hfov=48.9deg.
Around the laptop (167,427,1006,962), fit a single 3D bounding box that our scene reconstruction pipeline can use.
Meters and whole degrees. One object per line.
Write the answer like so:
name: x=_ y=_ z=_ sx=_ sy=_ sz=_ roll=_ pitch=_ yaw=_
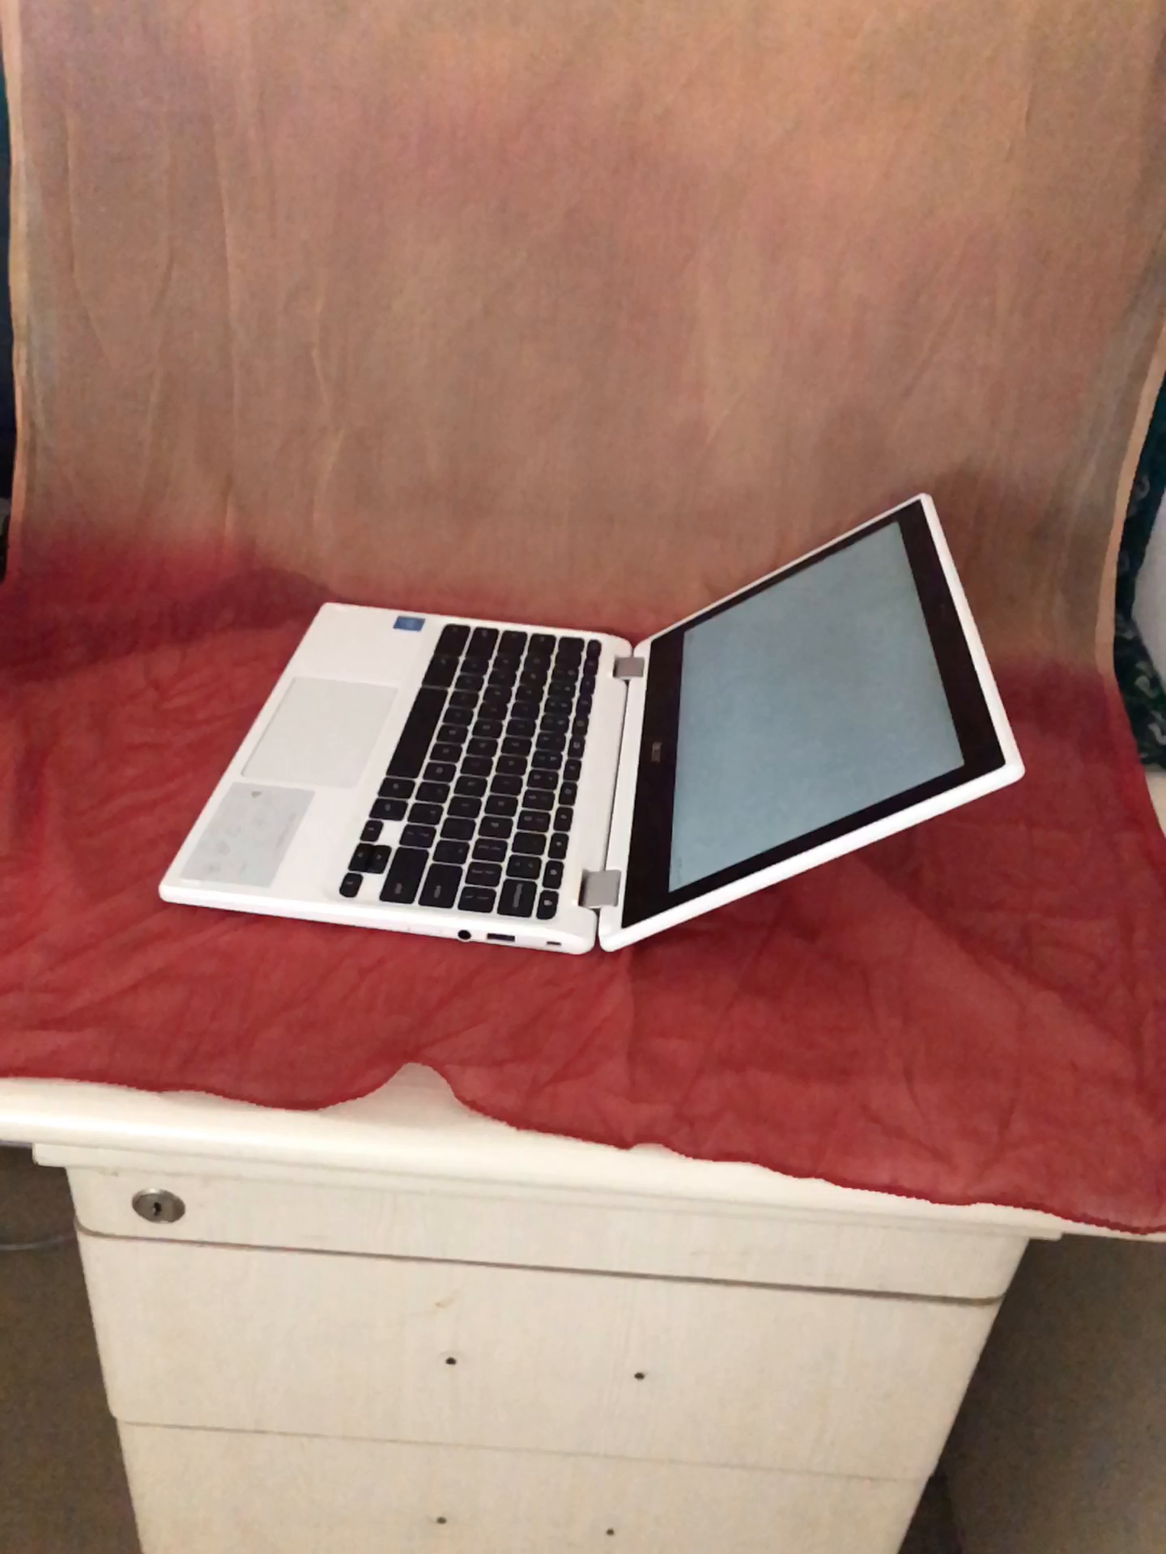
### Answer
laptop: x=0.006 y=-0.060 z=0.651 sx=0.337 sy=0.112 sz=0.265 roll=7 pitch=34 yaw=3
